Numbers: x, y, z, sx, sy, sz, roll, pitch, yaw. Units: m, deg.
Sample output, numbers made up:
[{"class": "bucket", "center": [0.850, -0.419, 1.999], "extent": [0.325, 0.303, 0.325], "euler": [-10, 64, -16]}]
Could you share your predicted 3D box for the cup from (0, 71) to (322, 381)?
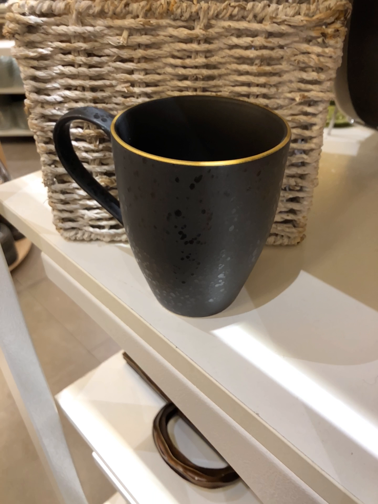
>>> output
[{"class": "cup", "center": [-0.014, -0.023, 0.217], "extent": [0.120, 0.099, 0.080], "euler": [25, 44, 30]}]
